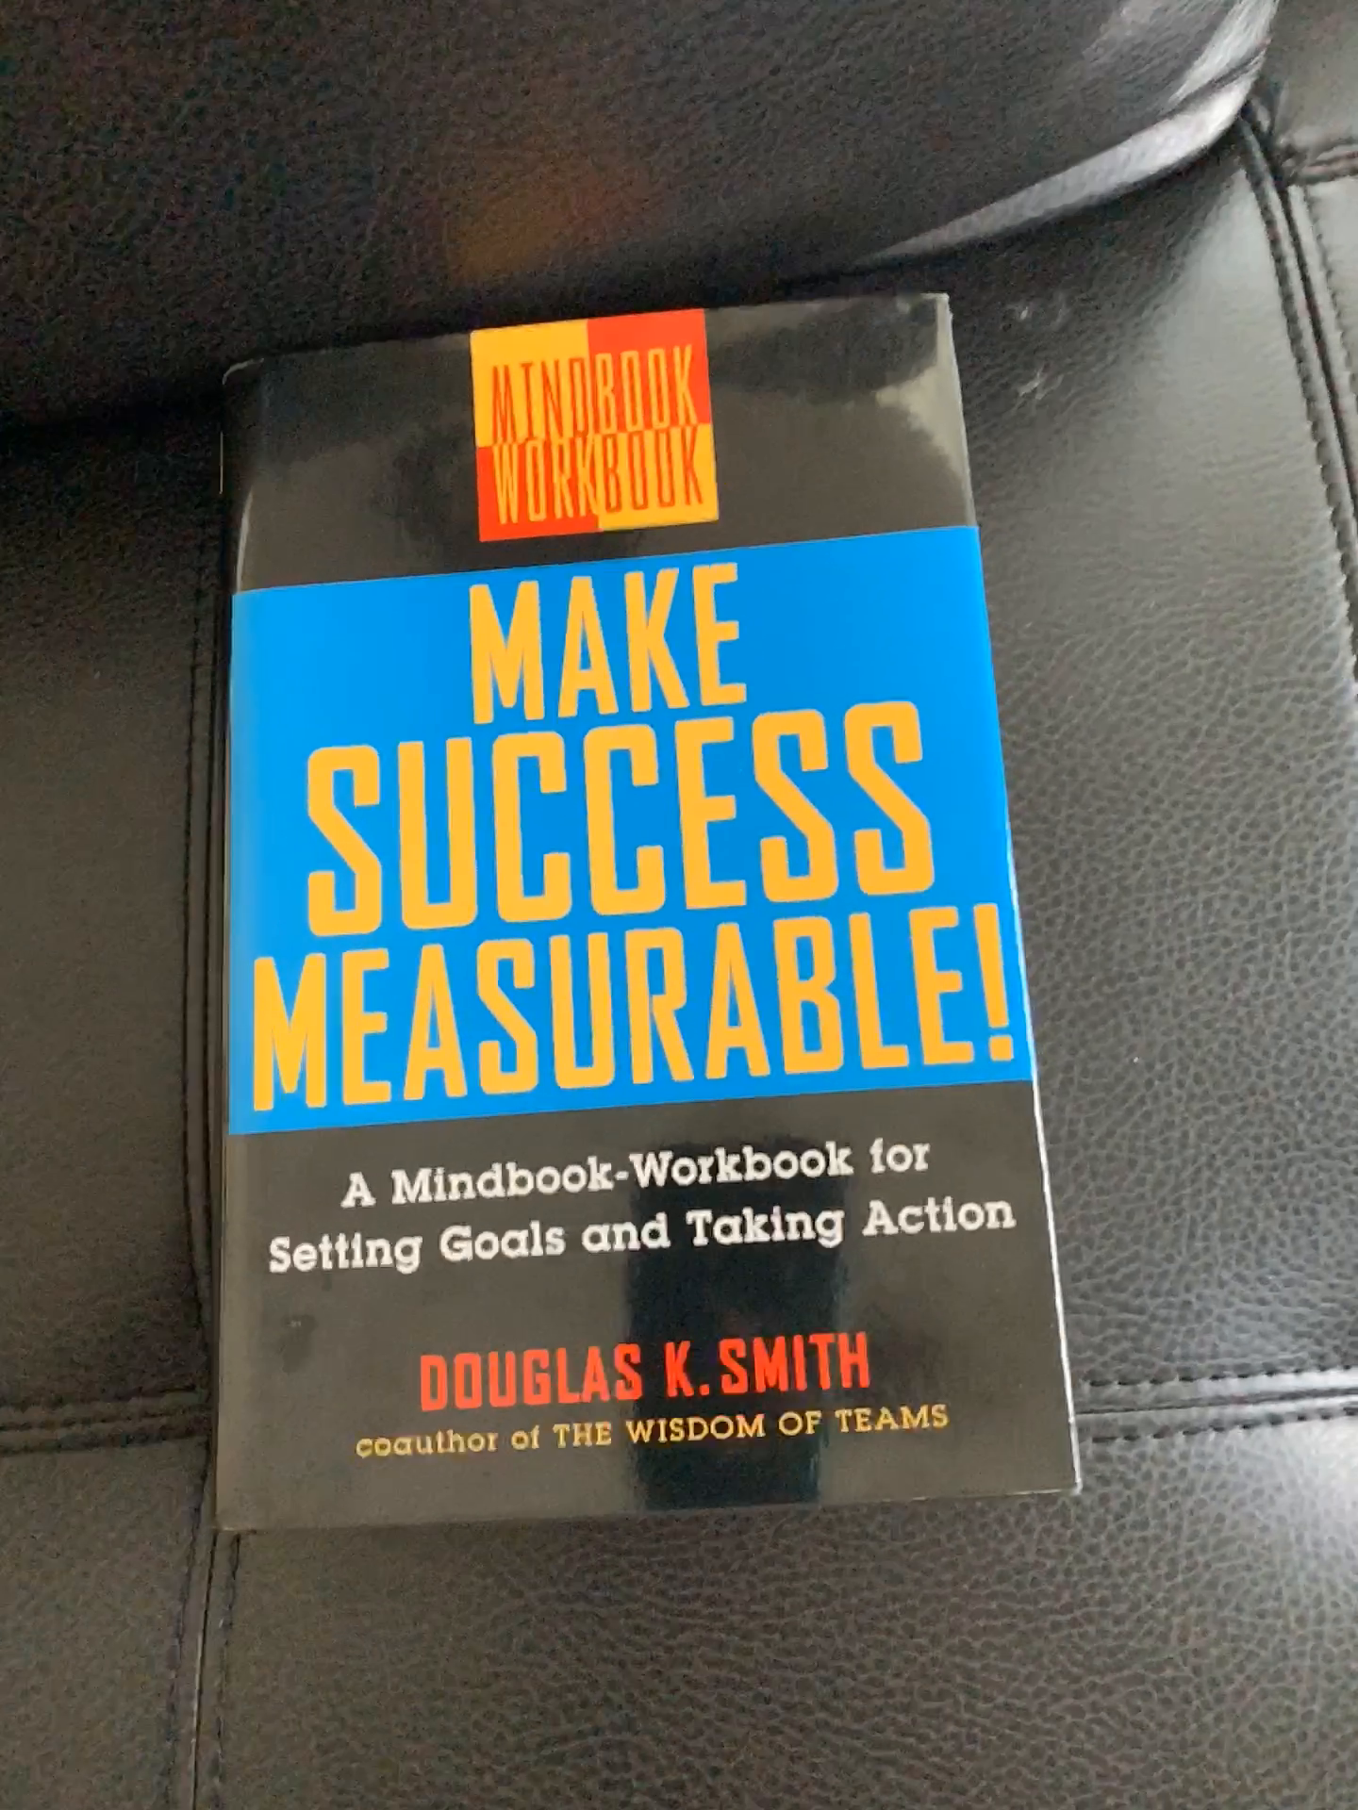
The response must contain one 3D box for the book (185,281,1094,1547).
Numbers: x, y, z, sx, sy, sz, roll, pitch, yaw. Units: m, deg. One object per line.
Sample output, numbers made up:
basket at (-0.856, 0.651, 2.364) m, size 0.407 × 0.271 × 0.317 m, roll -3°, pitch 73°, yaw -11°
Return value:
book at (-0.015, -0.004, 0.289) m, size 0.164 × 0.030 × 0.240 m, roll -4°, pitch 79°, yaw 4°
